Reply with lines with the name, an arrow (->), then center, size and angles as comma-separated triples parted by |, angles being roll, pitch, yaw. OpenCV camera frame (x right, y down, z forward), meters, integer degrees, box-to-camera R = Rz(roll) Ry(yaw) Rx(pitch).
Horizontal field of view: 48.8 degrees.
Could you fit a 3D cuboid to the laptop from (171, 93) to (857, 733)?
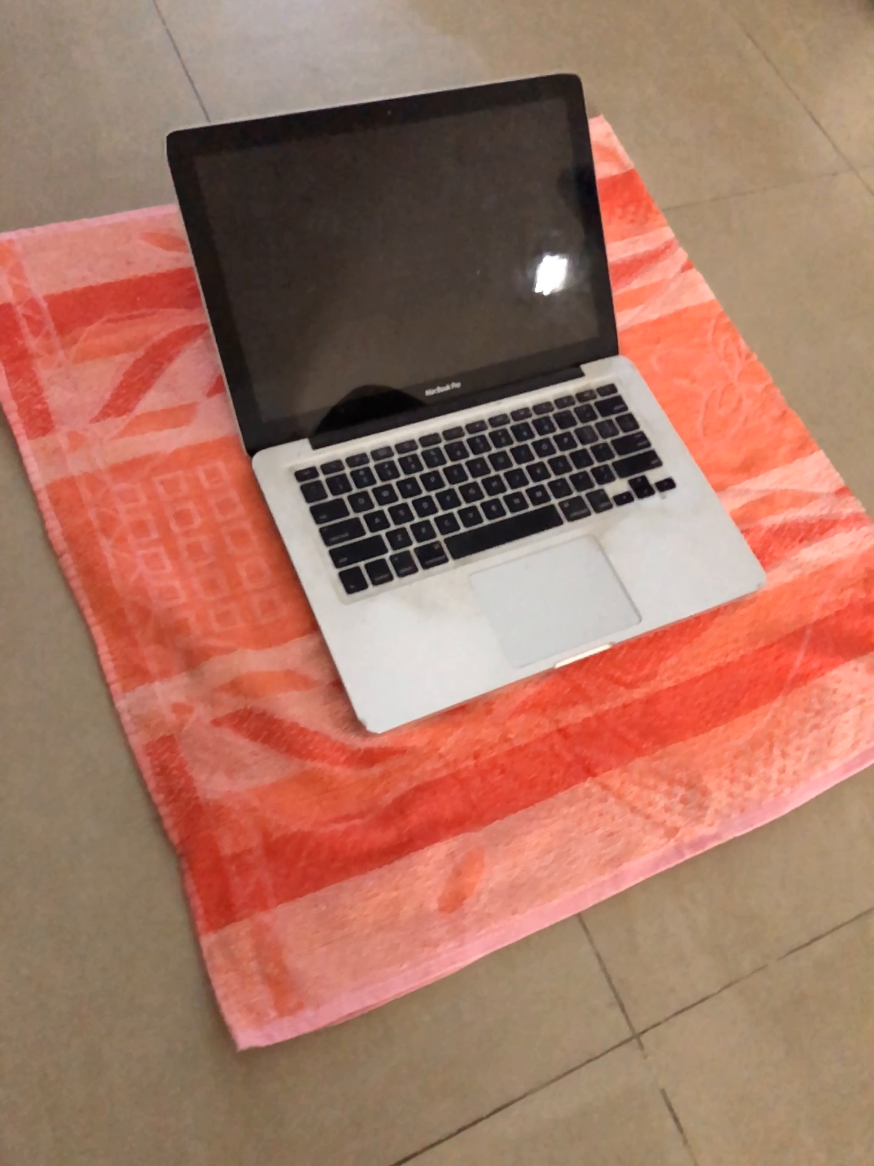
laptop -> 0.031, -0.138, 0.664 | 0.310, 0.133, 0.373 | -18, 67, -19
